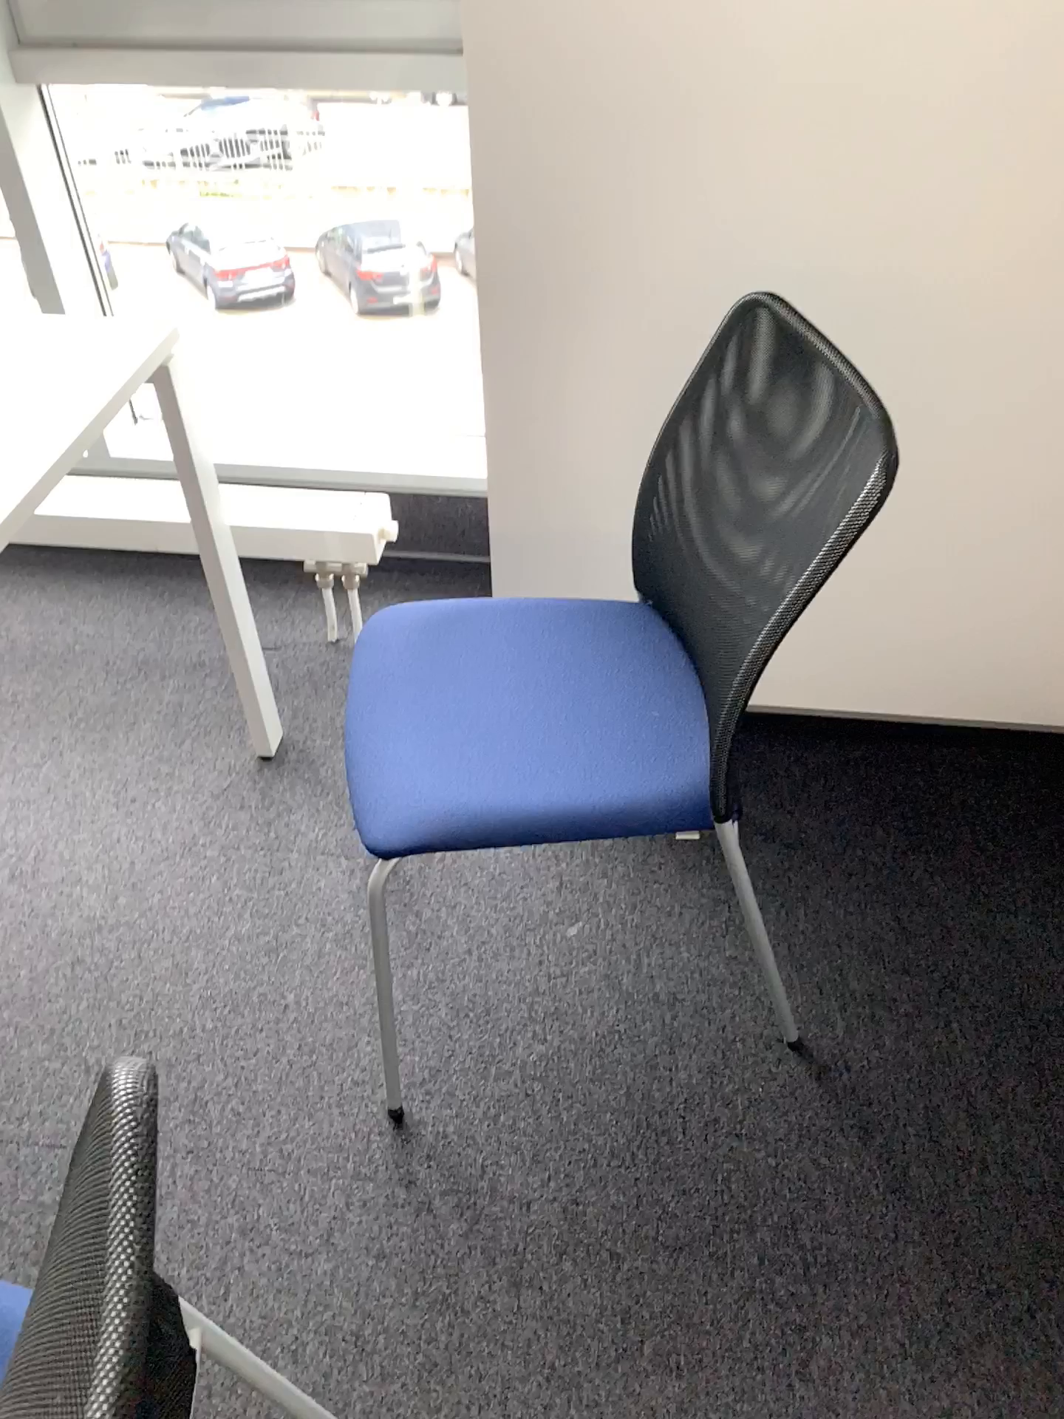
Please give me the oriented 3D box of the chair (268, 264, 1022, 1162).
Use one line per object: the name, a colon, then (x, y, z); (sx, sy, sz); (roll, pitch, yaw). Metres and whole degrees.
chair: (0.059, 0.034, 1.320); (0.590, 0.895, 0.533); (-8, 43, -7)
